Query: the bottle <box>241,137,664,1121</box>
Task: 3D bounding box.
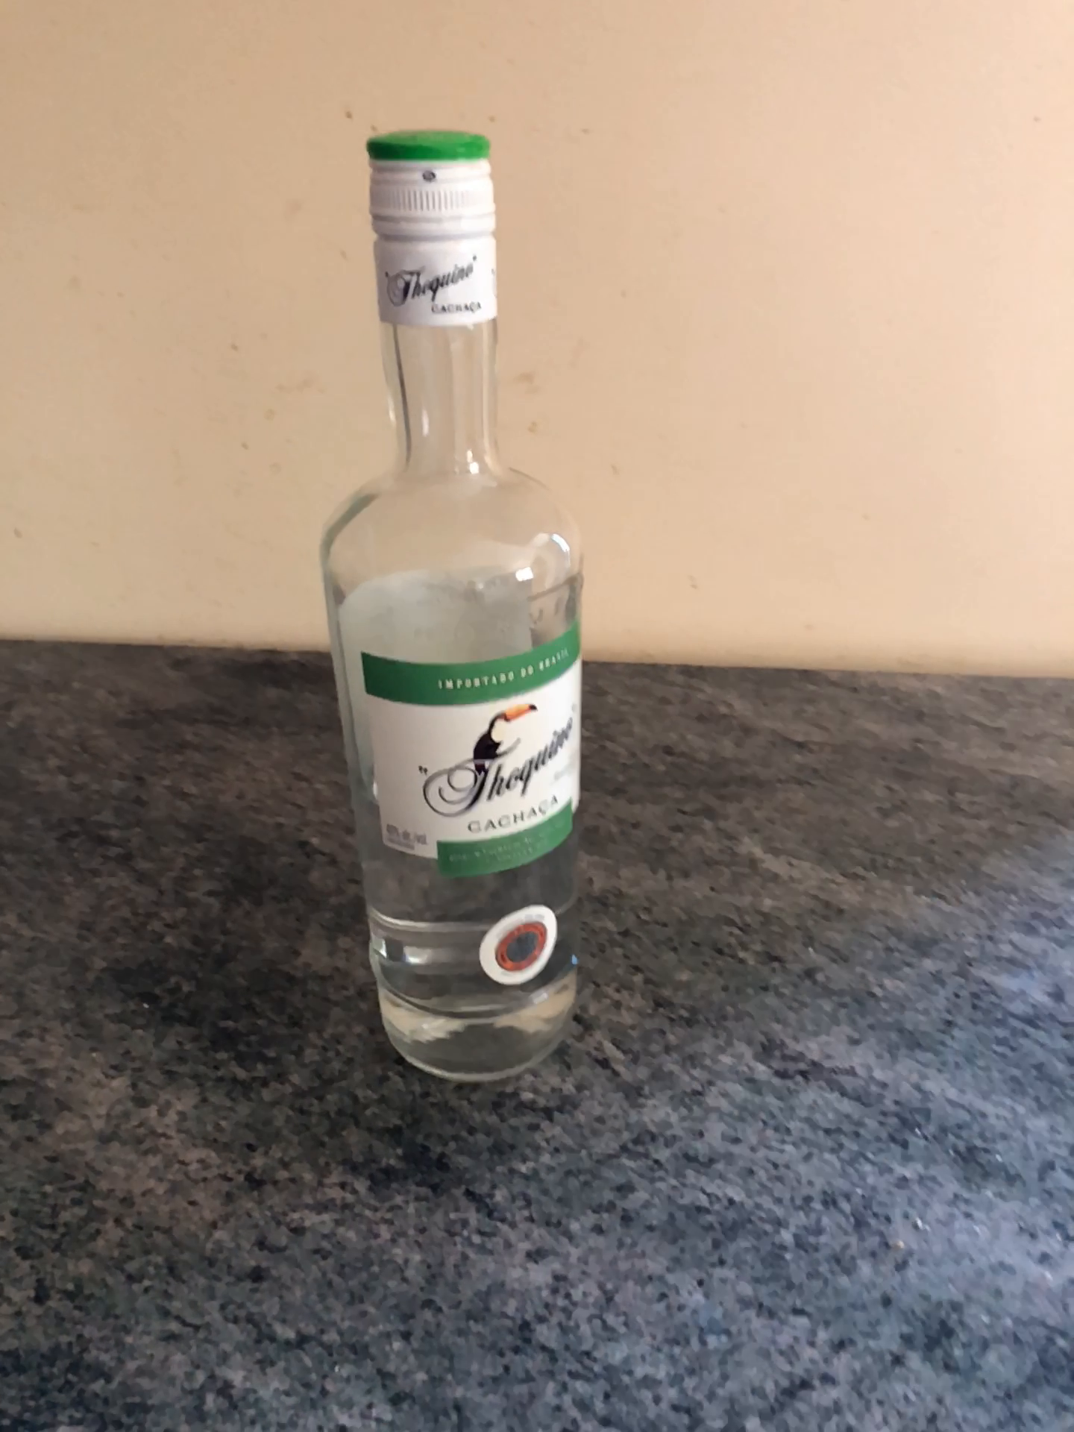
[{"bbox_3d":[-0.023,-0.021,0.362,0.080,0.278,0.080,0,26,0],"label":"bottle"}]
